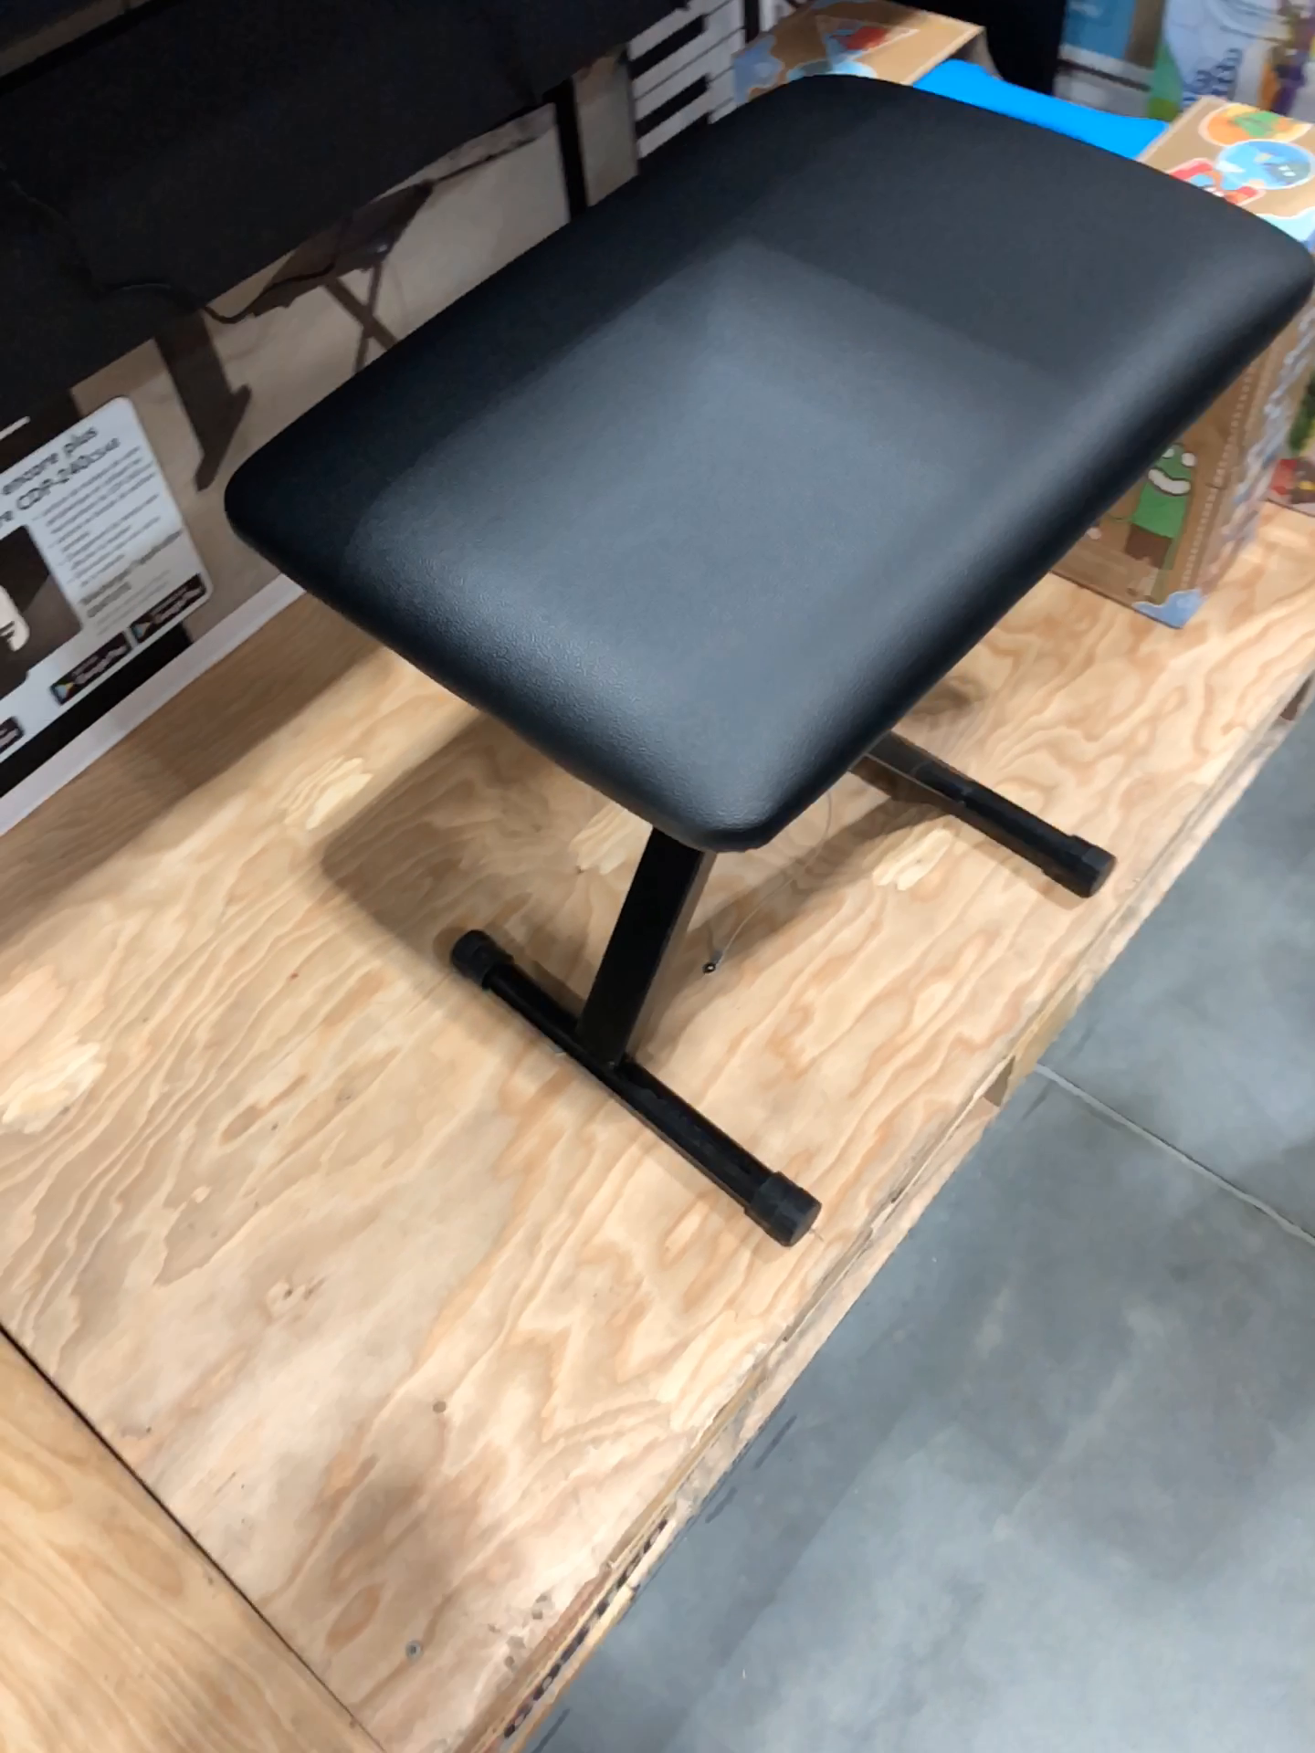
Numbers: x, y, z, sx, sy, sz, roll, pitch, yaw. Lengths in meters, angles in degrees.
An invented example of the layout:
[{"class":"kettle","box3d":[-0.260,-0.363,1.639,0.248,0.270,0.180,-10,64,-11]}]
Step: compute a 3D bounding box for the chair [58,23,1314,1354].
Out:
[{"class":"chair","box3d":[0.076,-0.124,0.716,0.371,0.279,0.511,34,64,25]}]
